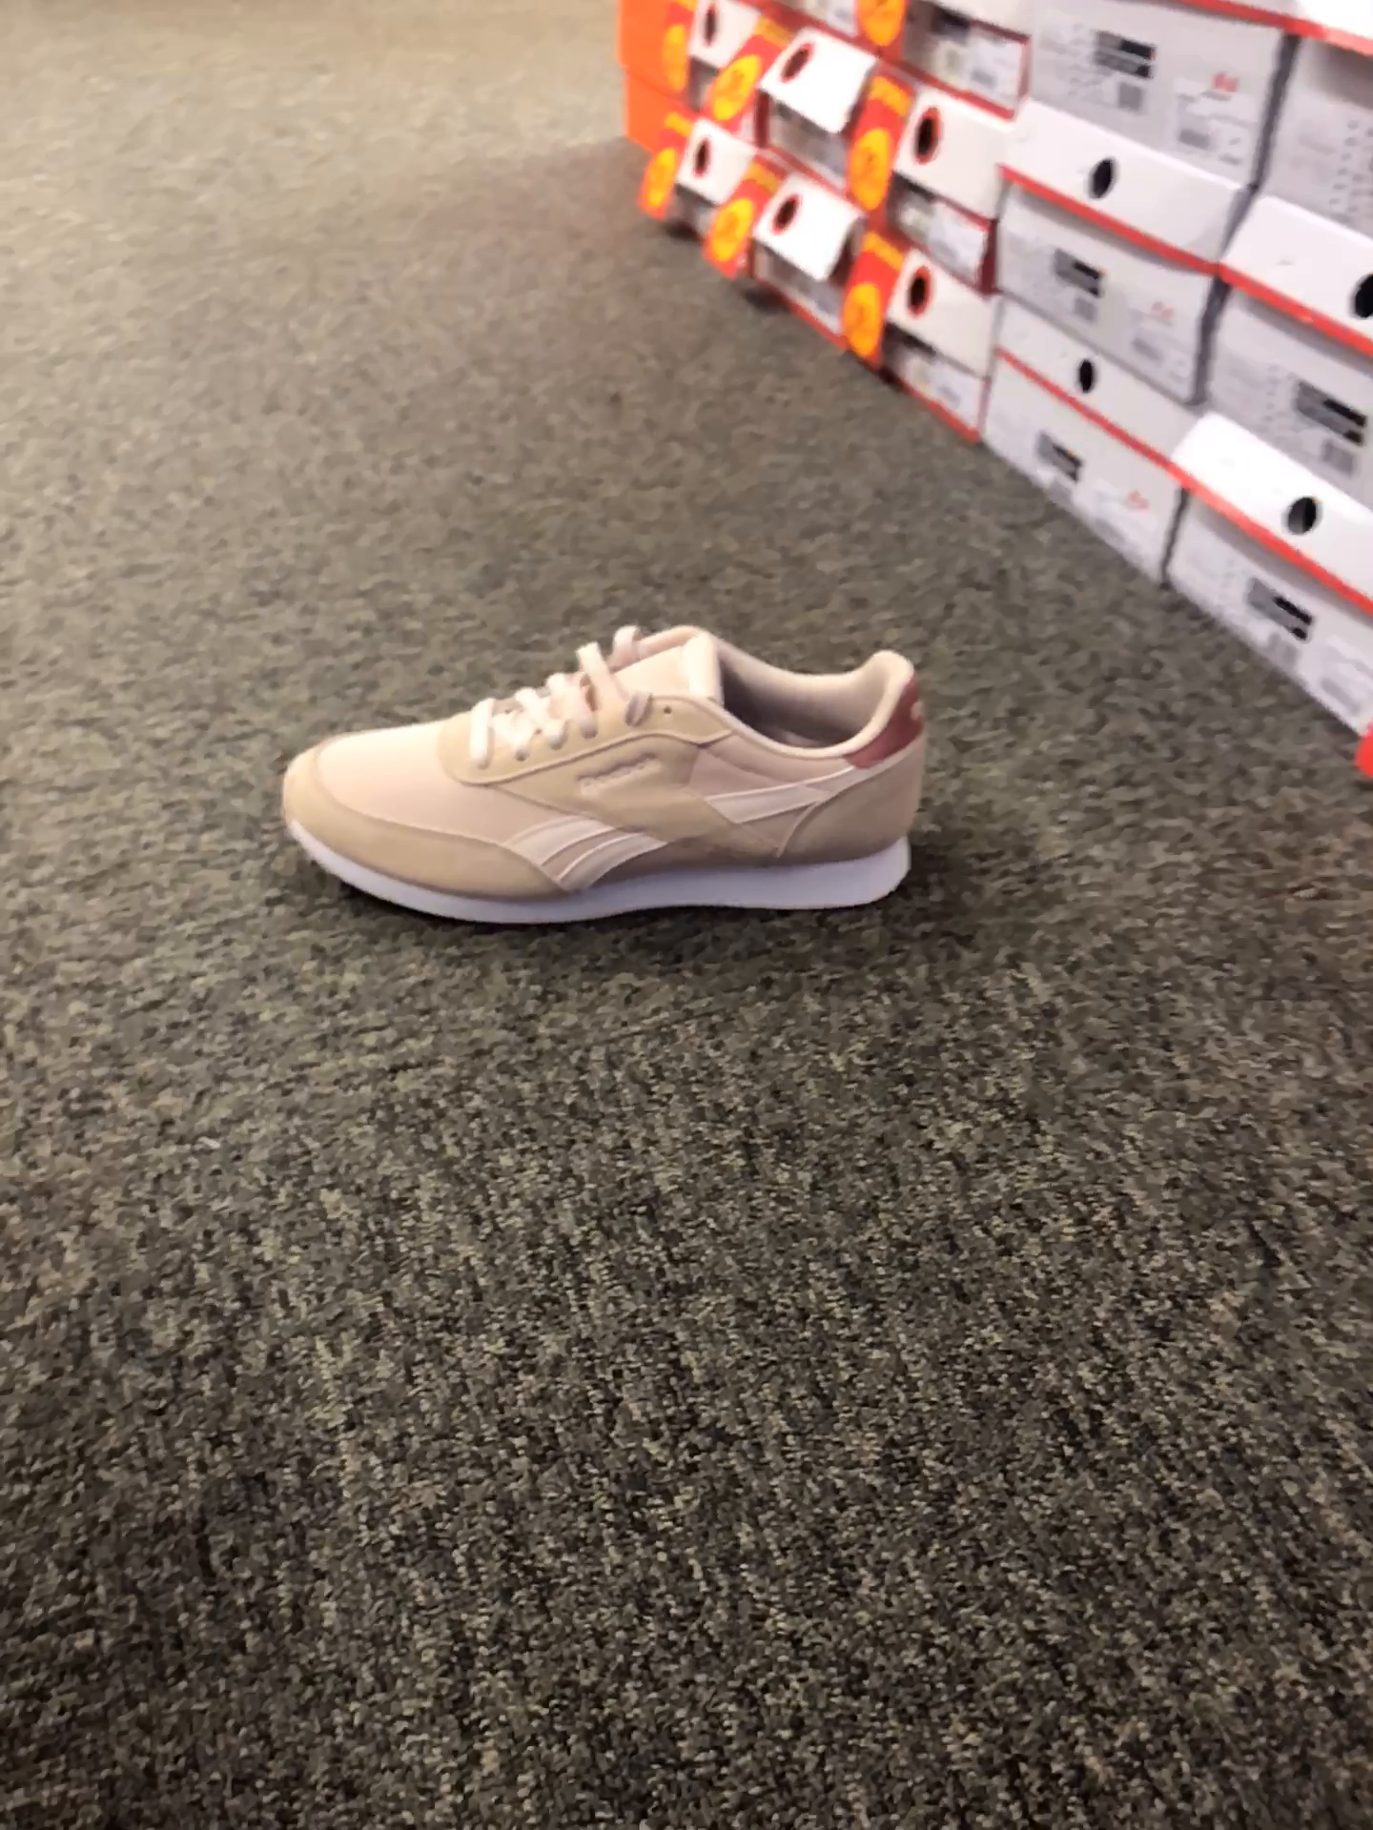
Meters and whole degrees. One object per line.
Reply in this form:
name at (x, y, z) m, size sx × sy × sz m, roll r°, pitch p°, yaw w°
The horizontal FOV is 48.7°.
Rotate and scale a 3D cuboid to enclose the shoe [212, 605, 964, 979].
shoe at (-0.035, -0.051, 0.617) m, size 0.270 × 0.109 × 0.101 m, roll 1°, pitch 40°, yaw 0°
